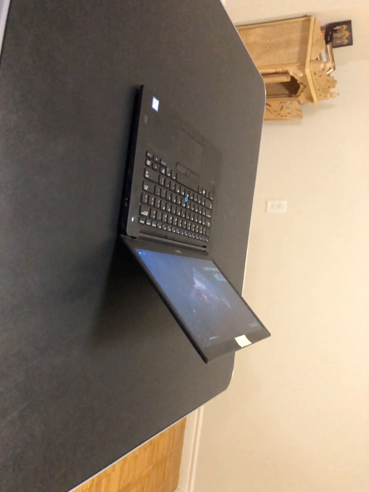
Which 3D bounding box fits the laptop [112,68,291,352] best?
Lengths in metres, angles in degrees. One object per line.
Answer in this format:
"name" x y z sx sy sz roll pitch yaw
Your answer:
"laptop" 0.056 -0.039 0.692 0.321 0.140 0.367 13 84 -65
